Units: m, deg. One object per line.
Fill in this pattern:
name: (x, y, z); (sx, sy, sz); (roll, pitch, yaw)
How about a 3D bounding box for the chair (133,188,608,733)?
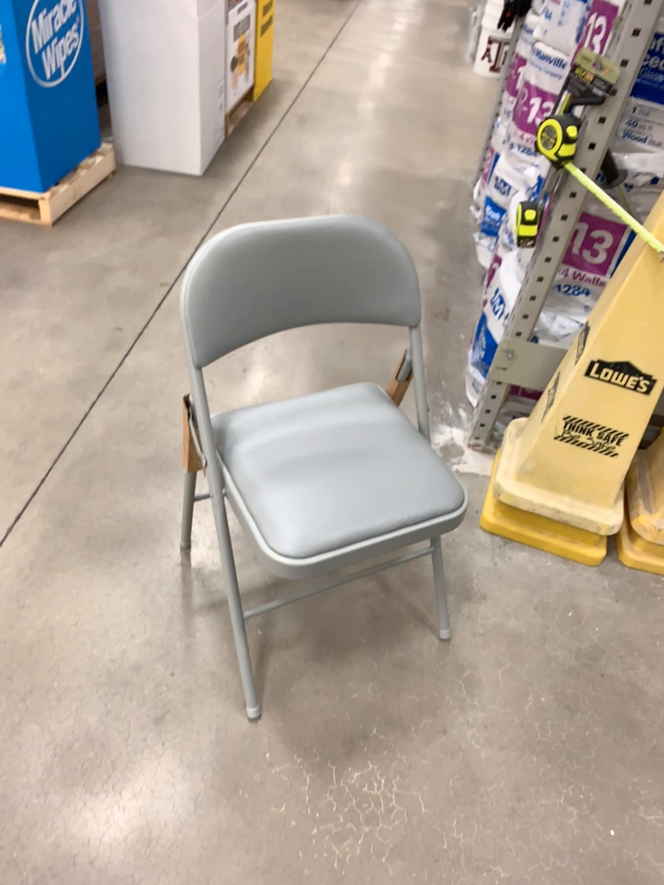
chair: (-0.011, 0.028, 1.168); (0.488, 0.709, 0.486); (-13, 47, -23)
